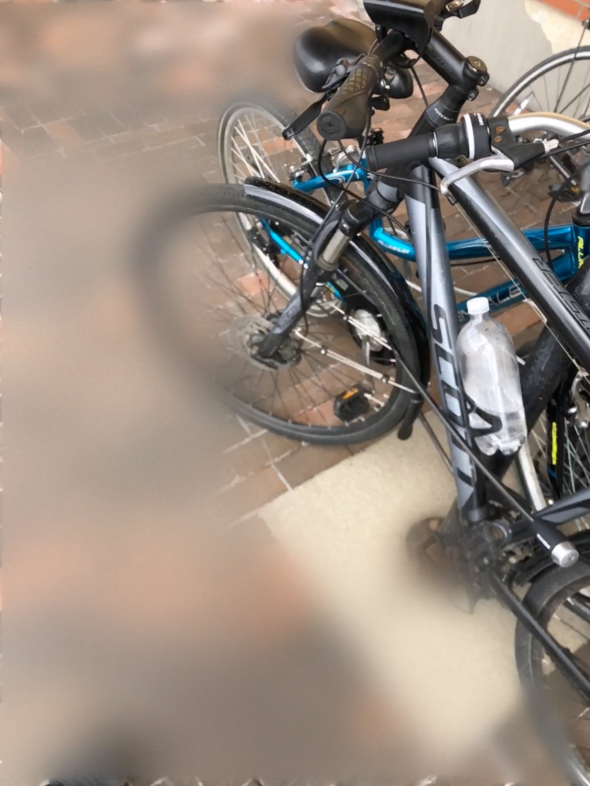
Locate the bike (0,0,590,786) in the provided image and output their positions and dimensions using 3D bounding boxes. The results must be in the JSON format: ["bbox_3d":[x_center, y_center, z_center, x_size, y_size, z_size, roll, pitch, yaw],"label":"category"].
[{"bbox_3d":[0.247,0.032,1.016,0.675,0.940,1.511,-33,58,-29],"label":"bike"}]
